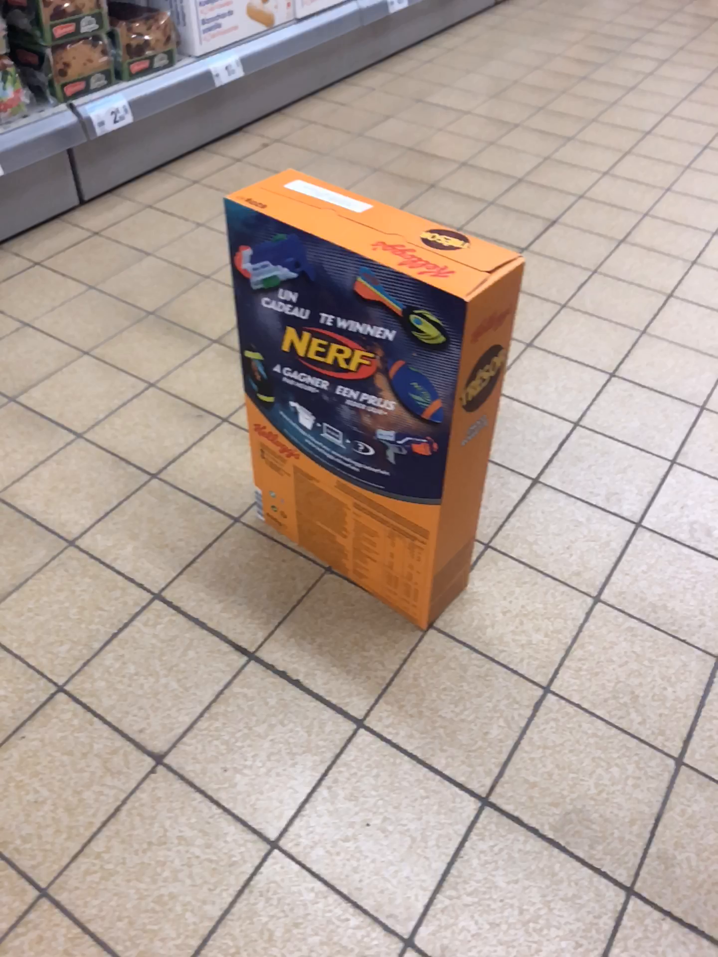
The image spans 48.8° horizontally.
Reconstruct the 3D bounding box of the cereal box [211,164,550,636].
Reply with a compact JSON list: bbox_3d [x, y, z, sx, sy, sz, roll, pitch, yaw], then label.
[{"bbox_3d":[0.005,-0.049,0.582,0.210,0.288,0.070,31,51,27],"label":"cereal box"}]
